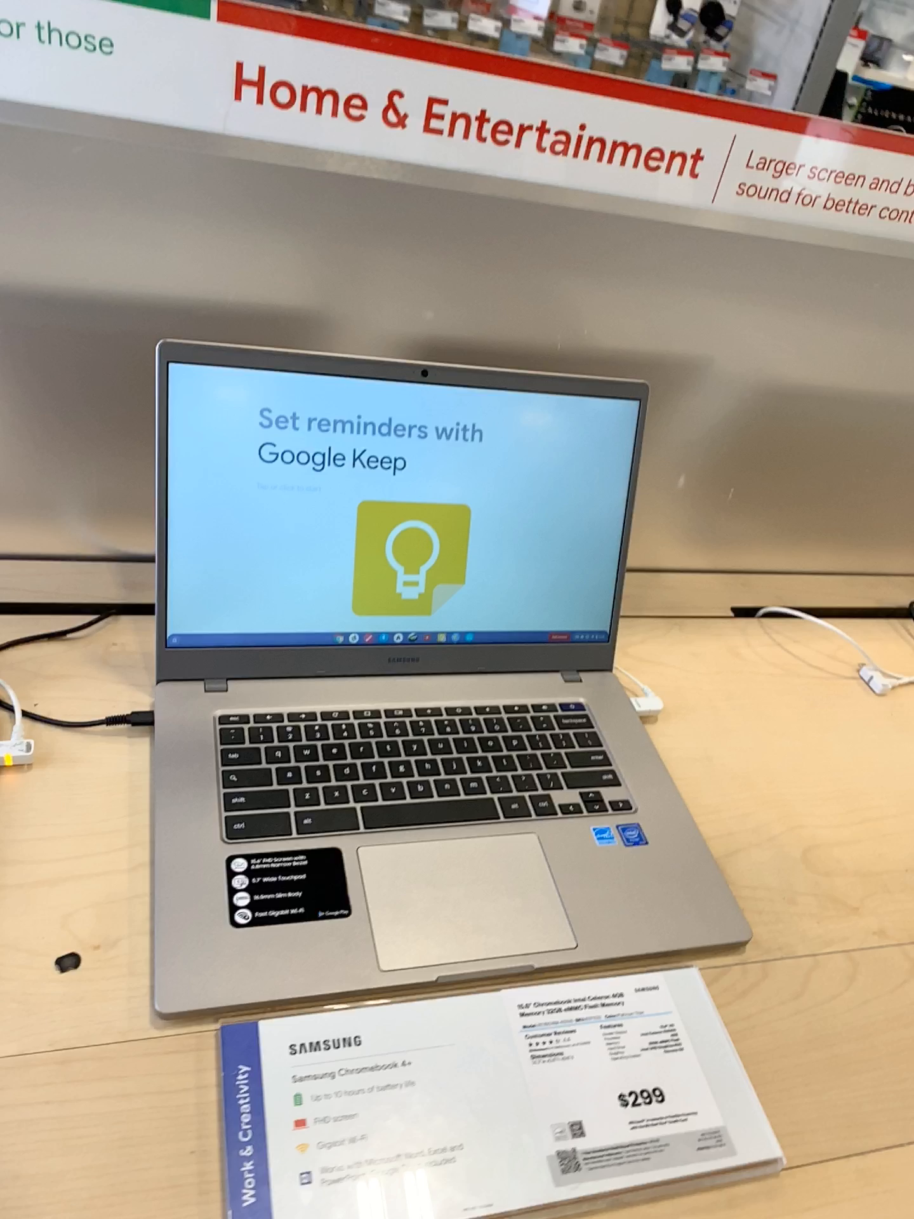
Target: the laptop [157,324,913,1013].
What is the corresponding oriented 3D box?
[{"bbox_3d":[-0.002,0.012,0.587,0.351,0.205,0.339,0,40,-18],"label":"laptop"}]
